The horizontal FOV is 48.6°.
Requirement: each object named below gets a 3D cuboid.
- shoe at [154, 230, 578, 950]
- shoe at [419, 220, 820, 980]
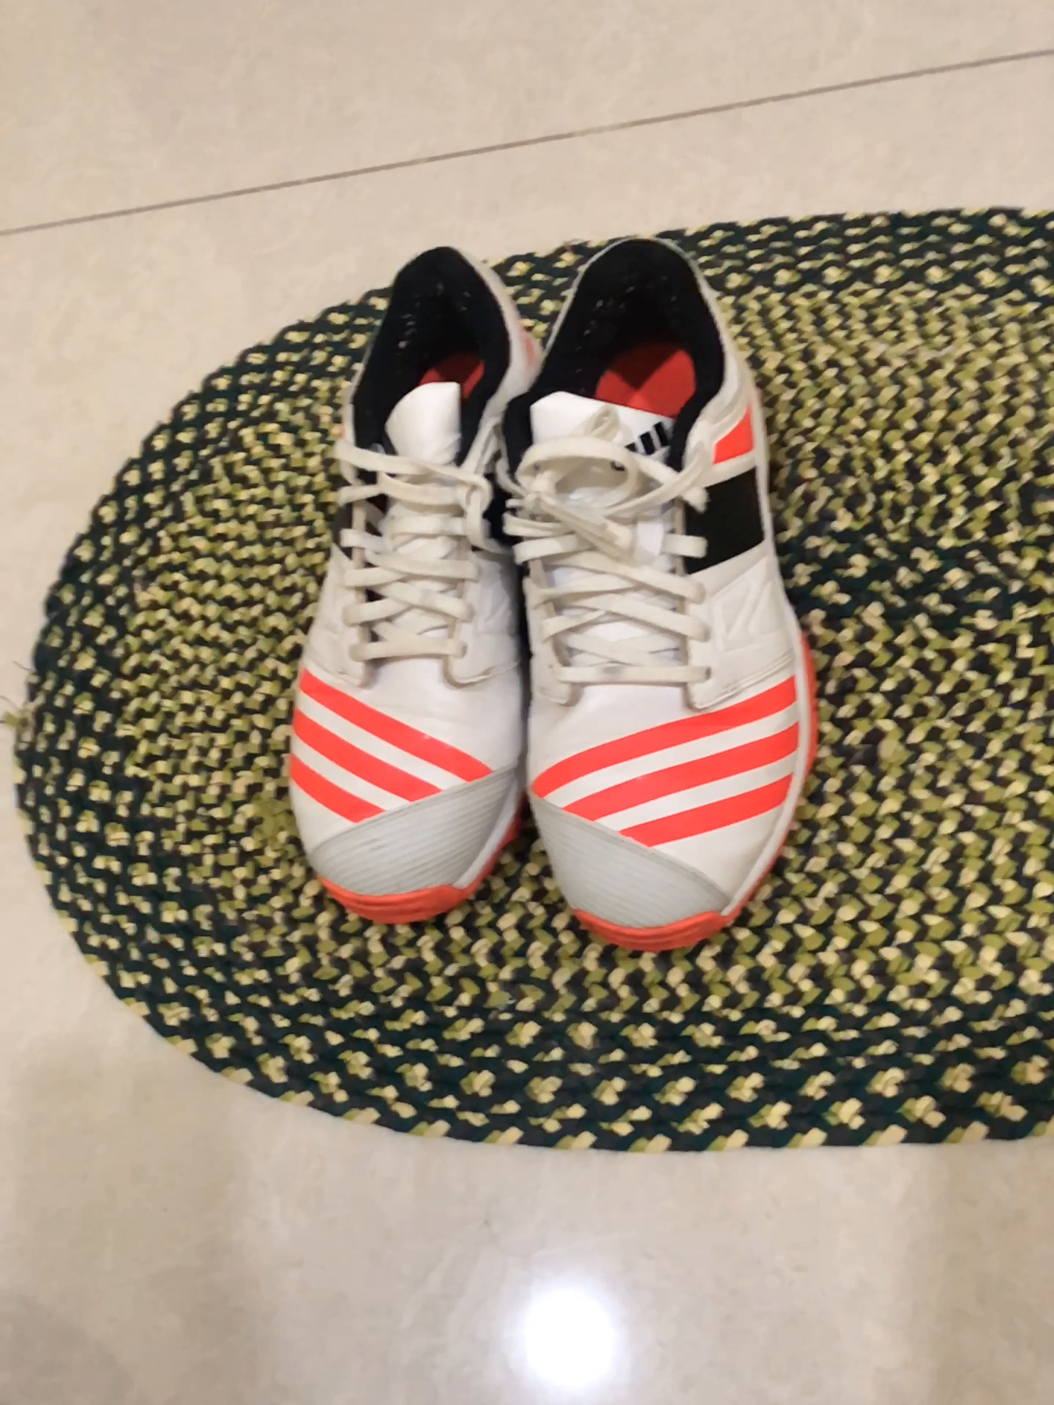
[{"bbox_3d":[-0.050,-0.049,0.468,0.100,0.090,0.270,1,67,14],"label":"shoe"},{"bbox_3d":[0.047,-0.039,0.426,0.110,0.100,0.250,1,67,14],"label":"shoe"}]
